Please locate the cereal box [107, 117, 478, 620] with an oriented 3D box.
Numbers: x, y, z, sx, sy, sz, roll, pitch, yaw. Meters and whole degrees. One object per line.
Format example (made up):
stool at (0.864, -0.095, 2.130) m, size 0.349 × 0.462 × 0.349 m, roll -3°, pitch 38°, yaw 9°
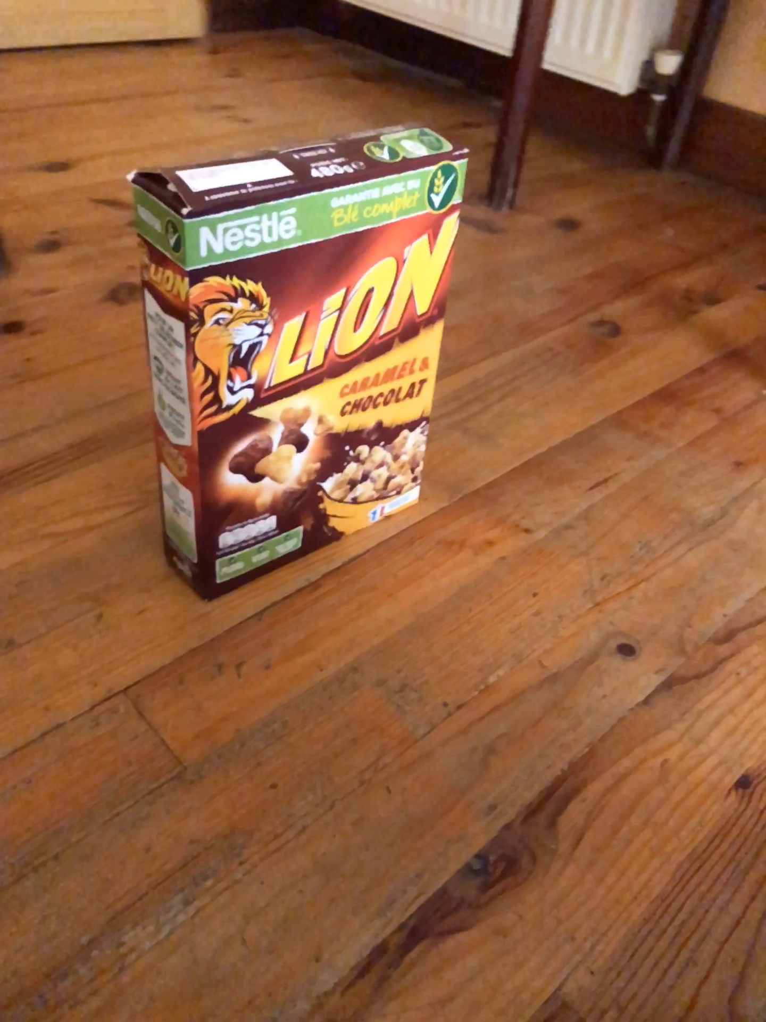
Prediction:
cereal box at (-0.053, -0.086, 0.543) m, size 0.201 × 0.278 × 0.060 m, roll -25°, pitch 49°, yaw -32°
